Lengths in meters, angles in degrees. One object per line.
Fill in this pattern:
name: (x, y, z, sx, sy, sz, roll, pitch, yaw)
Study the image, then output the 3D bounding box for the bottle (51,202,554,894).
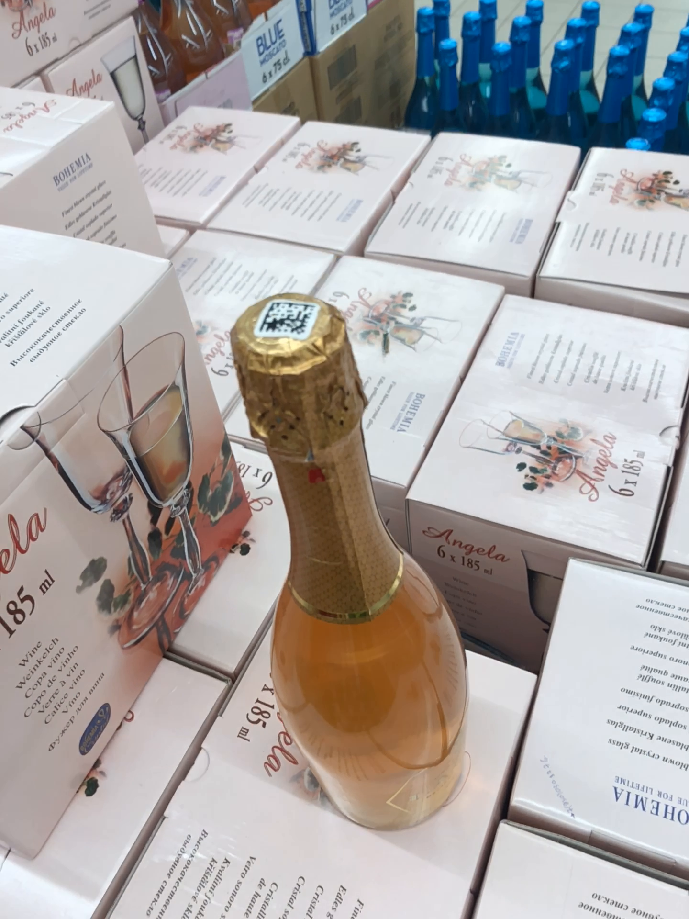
bottle: (0.005, 0.066, 0.310, 0.090, 0.298, 0.100, 26, 57, 27)
